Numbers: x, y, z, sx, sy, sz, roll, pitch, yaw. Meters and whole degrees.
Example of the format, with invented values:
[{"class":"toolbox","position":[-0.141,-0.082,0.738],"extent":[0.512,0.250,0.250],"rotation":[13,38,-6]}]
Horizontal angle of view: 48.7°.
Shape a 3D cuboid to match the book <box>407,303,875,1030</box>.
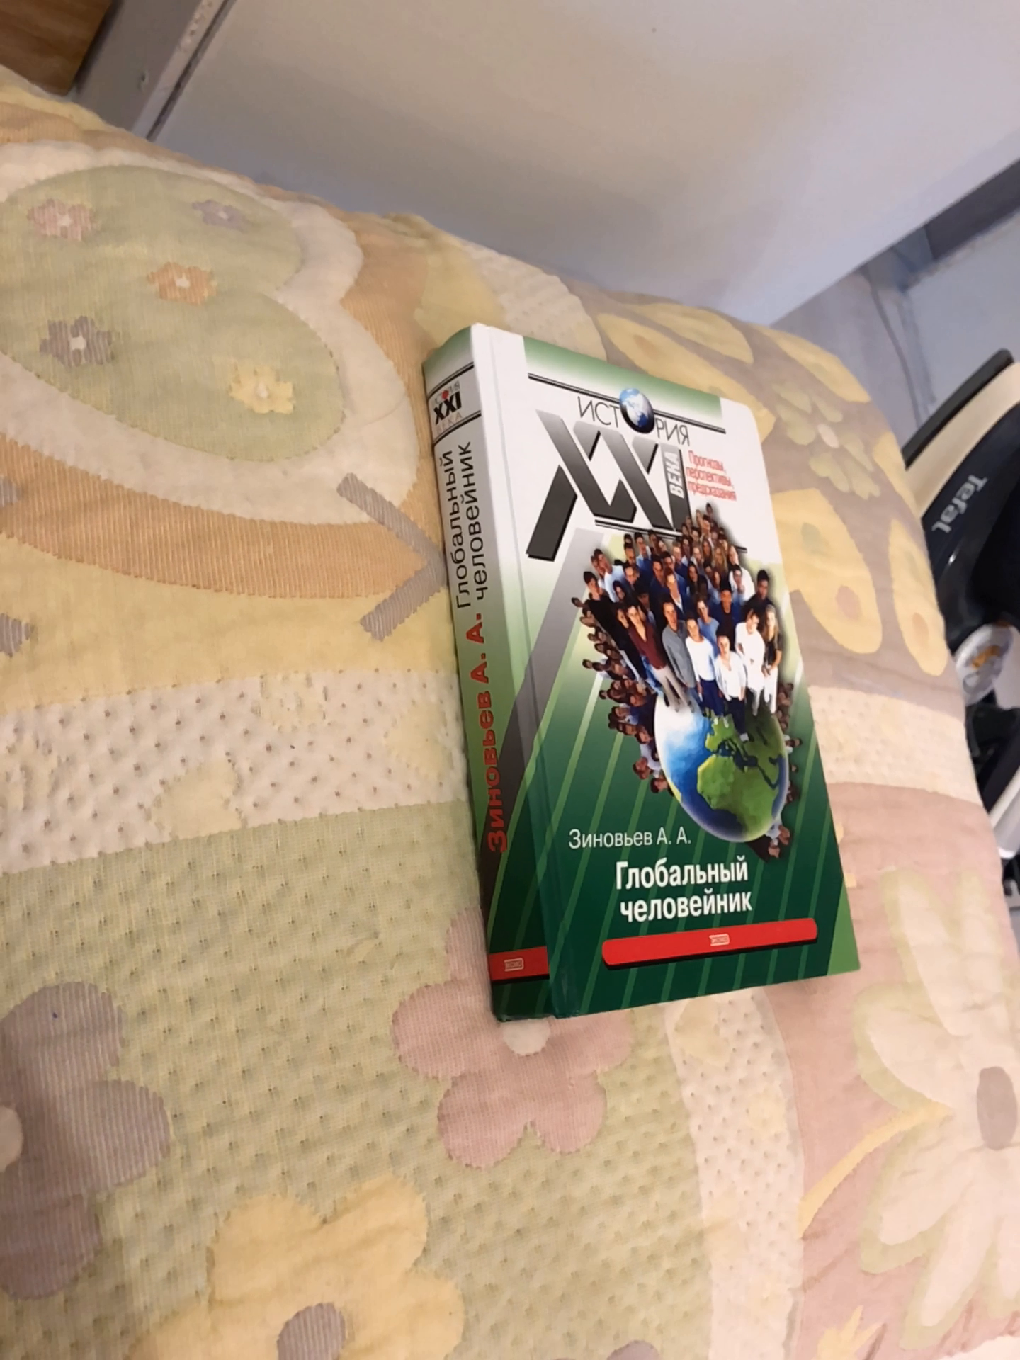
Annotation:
[{"class":"book","position":[0.043,-0.004,0.363],"extent":[0.134,0.035,0.207],"rotation":[5,71,-38]}]
